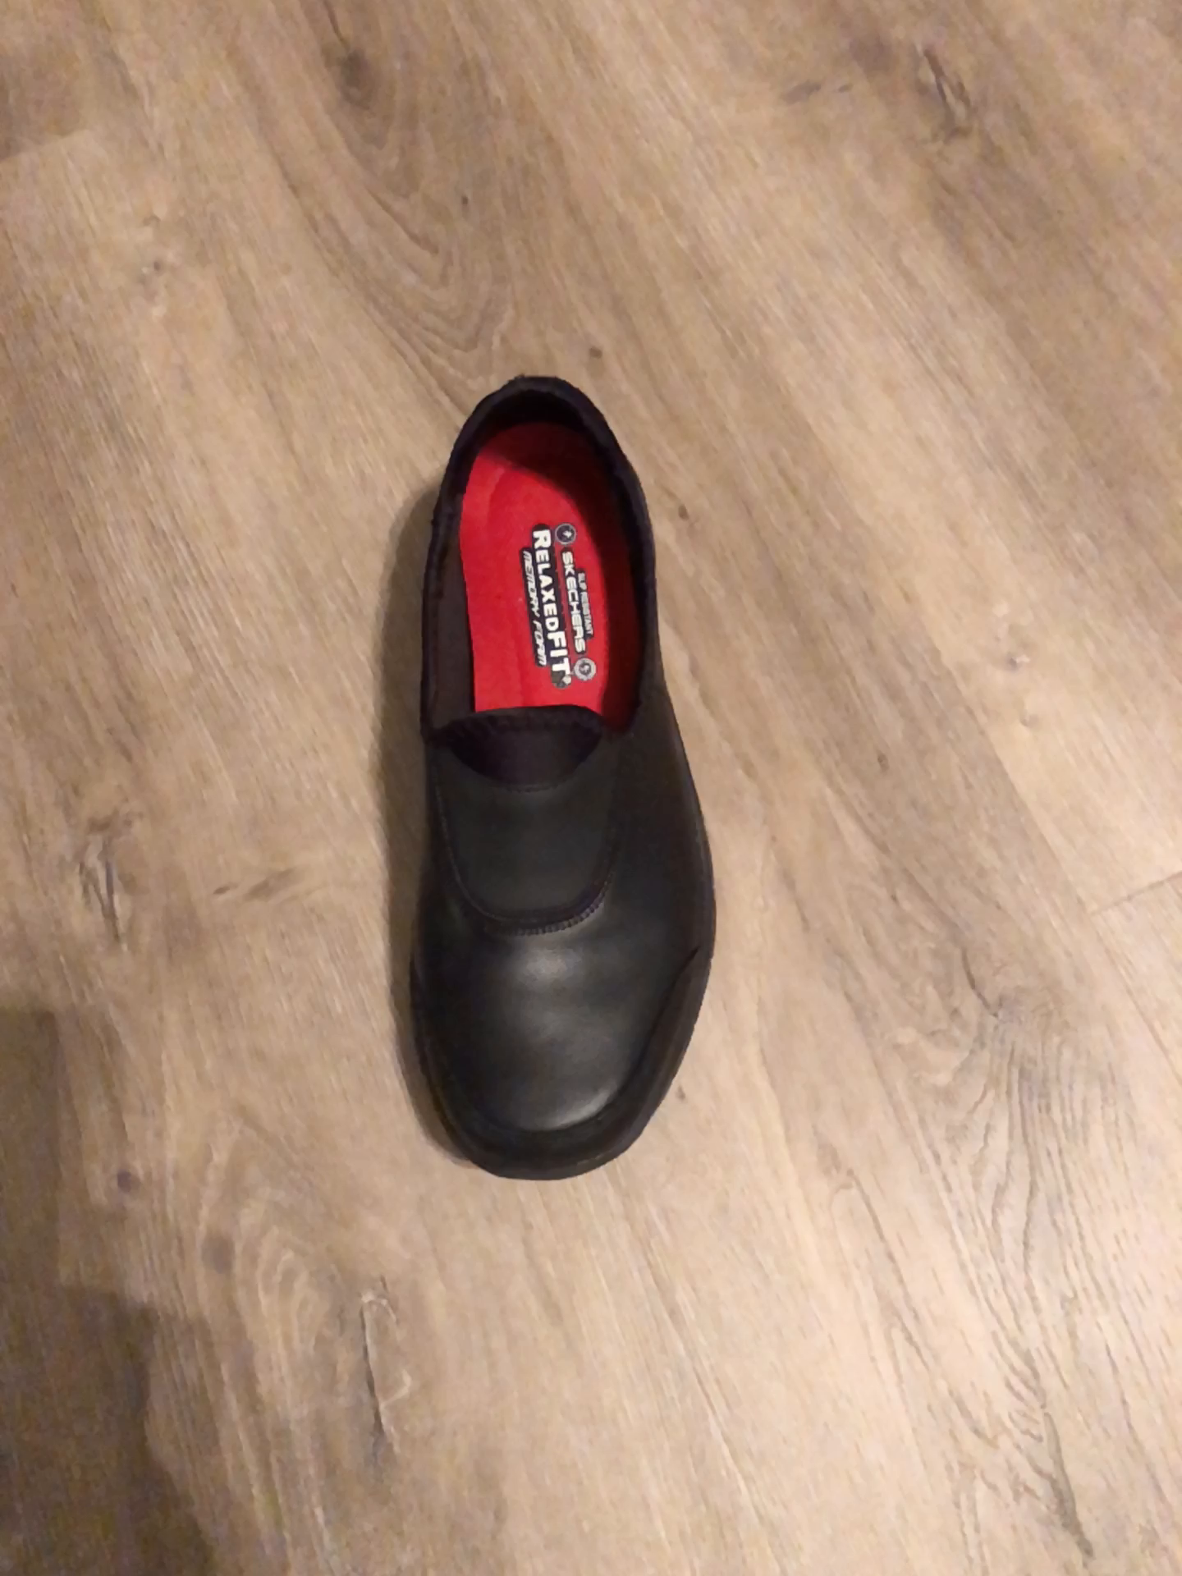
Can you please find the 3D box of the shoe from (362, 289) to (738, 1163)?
[{"bbox_3d":[-0.014,-0.016,0.391,0.090,0.090,0.240,-3,73,0],"label":"shoe"}]
